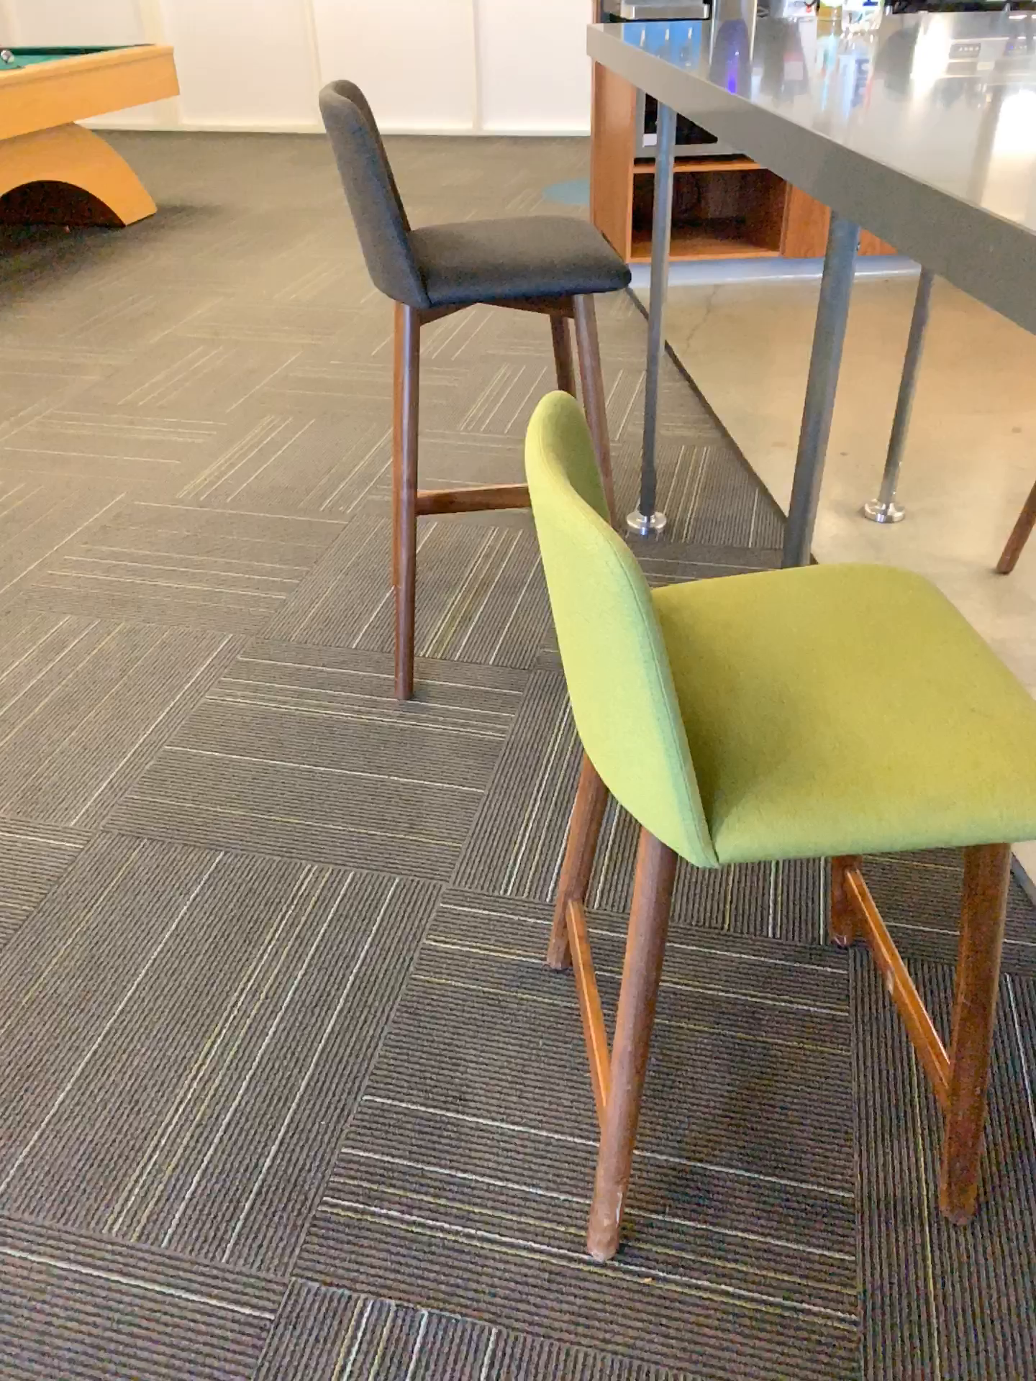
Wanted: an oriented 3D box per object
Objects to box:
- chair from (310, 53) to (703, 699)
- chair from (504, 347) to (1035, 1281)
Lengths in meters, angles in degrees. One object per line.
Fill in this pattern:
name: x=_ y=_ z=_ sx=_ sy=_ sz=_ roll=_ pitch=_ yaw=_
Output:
chair: x=-0.041 y=-0.591 z=1.985 sx=0.540 sy=0.974 sz=0.644 roll=-5 pitch=35 yaw=-5
chair: x=0.254 y=0.145 z=1.080 sx=0.480 sy=0.825 sz=0.443 roll=-4 pitch=35 yaw=-3
